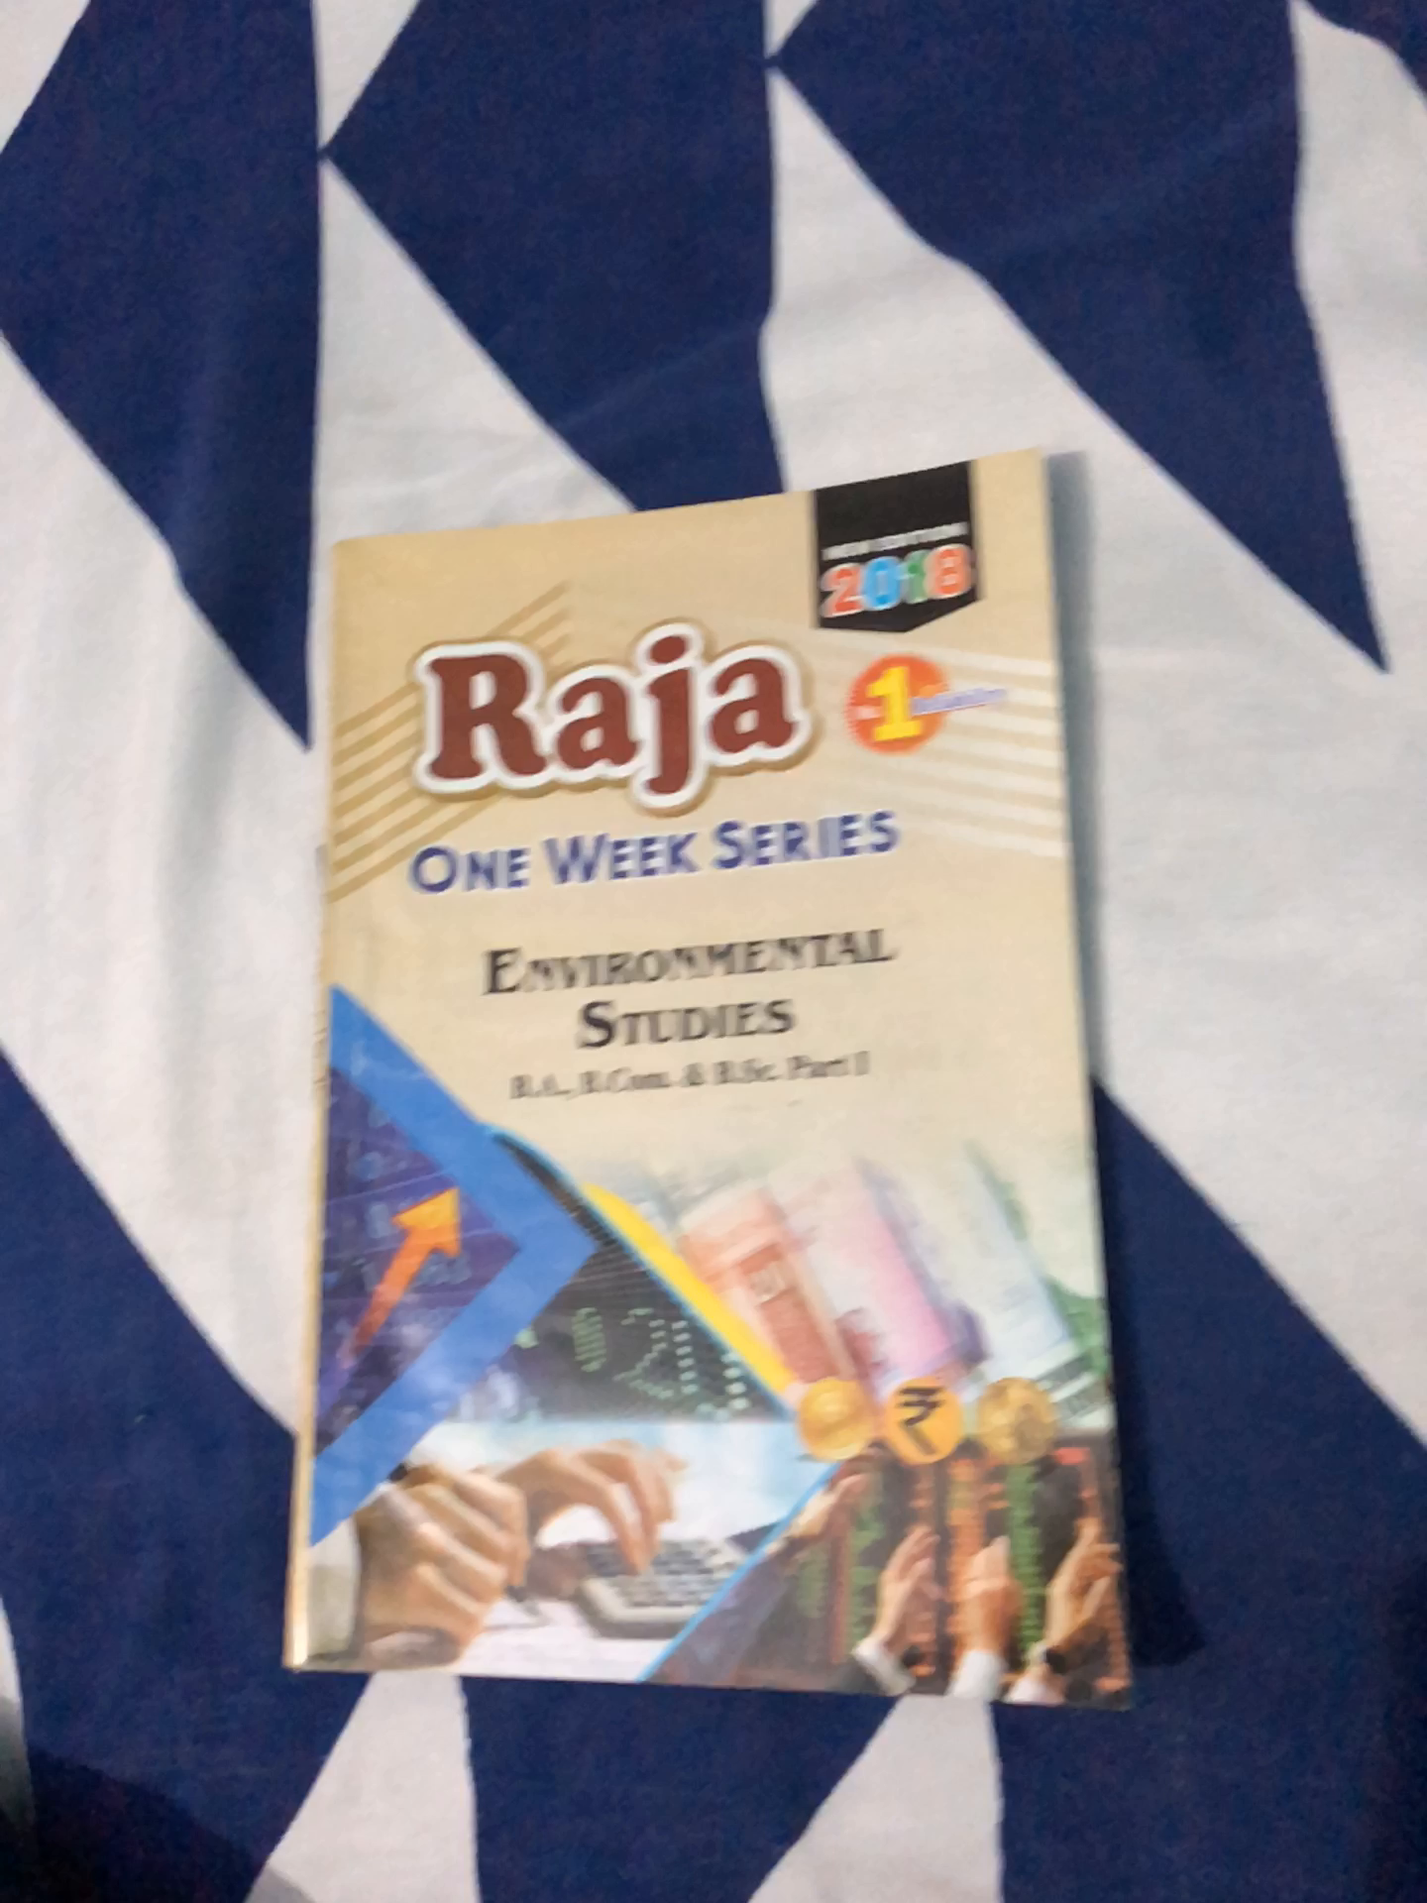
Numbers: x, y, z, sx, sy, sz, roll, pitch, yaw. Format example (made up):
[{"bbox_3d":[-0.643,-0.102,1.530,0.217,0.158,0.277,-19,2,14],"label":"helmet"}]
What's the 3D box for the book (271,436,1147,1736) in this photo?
[{"bbox_3d":[-0.006,0.018,0.270,0.140,0.010,0.200,-5,77,17],"label":"book"}]
